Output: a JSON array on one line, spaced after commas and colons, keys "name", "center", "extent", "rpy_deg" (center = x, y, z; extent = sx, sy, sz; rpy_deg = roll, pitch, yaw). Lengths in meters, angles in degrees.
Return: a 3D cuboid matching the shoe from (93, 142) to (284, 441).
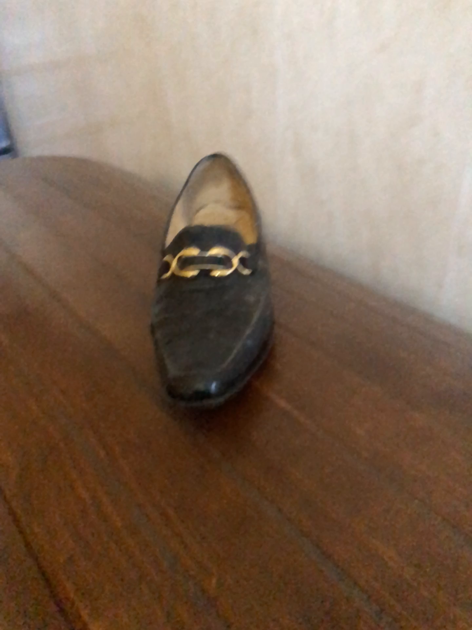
[{"name": "shoe", "center": [-0.021, -0.038, 0.374], "extent": [0.090, 0.099, 0.242], "rpy_deg": [-3, 34, 1]}]
